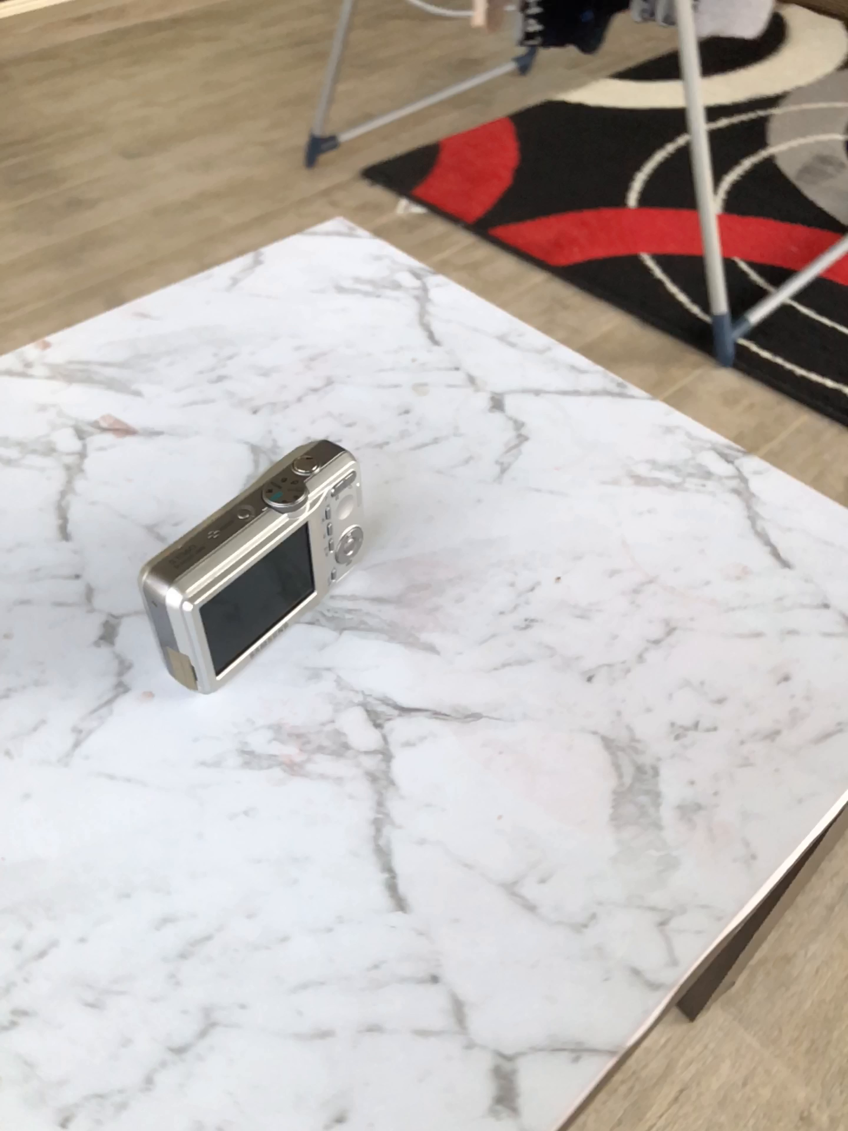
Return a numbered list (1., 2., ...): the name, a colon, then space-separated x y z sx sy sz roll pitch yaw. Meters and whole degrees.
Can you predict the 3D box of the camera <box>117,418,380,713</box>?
1. camera: -0.062 -0.002 0.366 0.034 0.061 0.099 29 53 24
